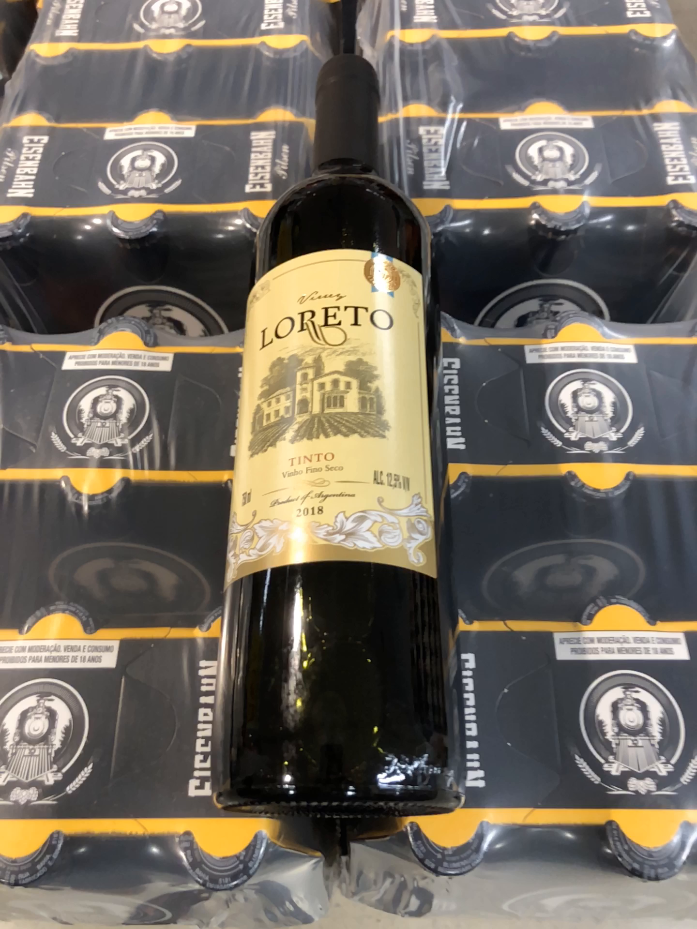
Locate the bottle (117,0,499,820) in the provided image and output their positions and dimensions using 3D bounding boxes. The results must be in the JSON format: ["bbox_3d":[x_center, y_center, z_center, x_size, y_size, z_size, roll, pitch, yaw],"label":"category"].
[{"bbox_3d":[-0.004,-0.057,0.279,0.080,0.080,0.331,-6,62,12],"label":"bottle"}]
